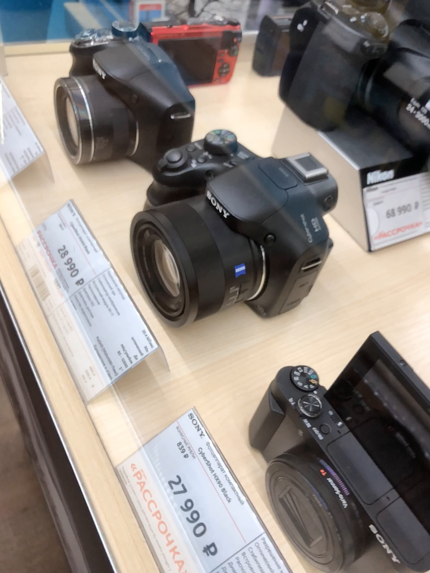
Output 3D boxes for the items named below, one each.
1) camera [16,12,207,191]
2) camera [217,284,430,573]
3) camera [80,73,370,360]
[{"bbox_3d":[-0.084,-0.151,0.381,0.096,0.073,0.122,-19,56,-27],"label":"camera"},{"bbox_3d":[0.067,0.088,0.213,0.056,0.113,0.125,-19,56,-27],"label":"camera"},{"bbox_3d":[-0.005,-0.051,0.295,0.104,0.086,0.137,-19,56,-27],"label":"camera"}]
